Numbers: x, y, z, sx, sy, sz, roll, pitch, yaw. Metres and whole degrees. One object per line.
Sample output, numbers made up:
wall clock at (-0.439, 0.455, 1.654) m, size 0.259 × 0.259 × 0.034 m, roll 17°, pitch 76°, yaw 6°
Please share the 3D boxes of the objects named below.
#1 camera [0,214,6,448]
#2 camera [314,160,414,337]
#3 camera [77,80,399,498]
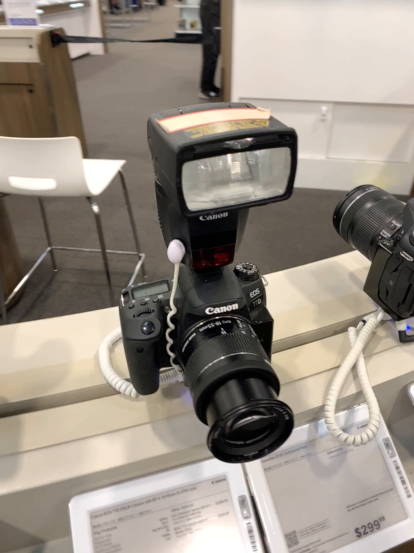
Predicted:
camera at (-0.280, 0.036, 0.385) m, size 0.140 × 0.103 × 0.166 m, roll -8°, pitch 37°, yaw -12°
camera at (0.230, -0.042, 0.470) m, size 0.140 × 0.103 × 0.166 m, roll -11°, pitch 38°, yaw -15°
camera at (-0.004, 0.001, 0.316) m, size 0.140 × 0.232 × 0.177 m, roll -8°, pitch 37°, yaw -12°
